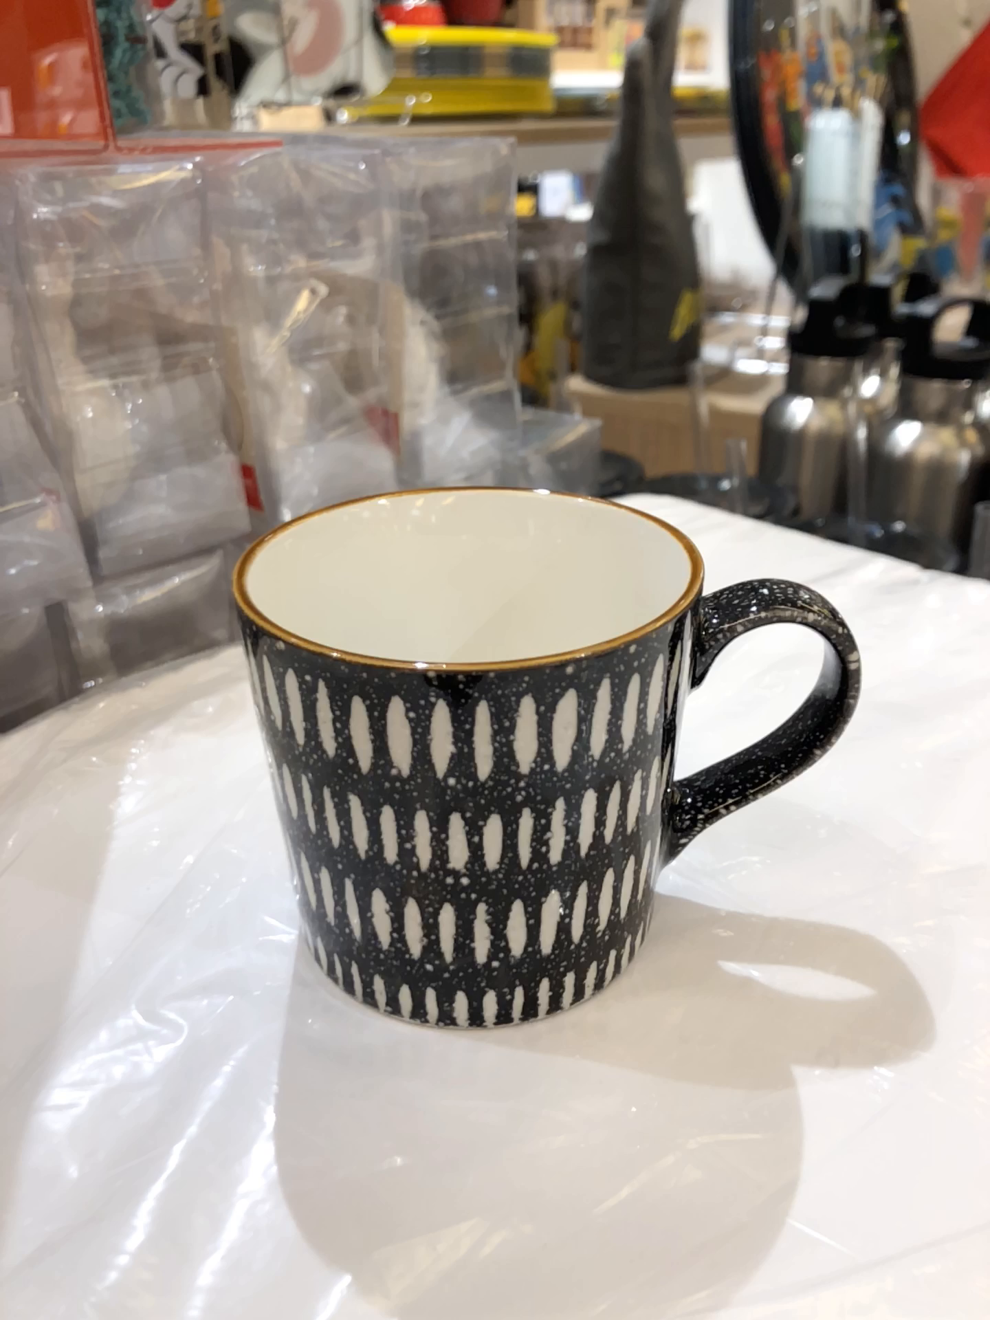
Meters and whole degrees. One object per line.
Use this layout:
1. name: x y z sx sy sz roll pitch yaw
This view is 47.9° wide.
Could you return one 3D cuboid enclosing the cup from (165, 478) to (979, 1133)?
1. cup: 0.009 0.020 0.203 0.110 0.079 0.081 -3 26 -4
